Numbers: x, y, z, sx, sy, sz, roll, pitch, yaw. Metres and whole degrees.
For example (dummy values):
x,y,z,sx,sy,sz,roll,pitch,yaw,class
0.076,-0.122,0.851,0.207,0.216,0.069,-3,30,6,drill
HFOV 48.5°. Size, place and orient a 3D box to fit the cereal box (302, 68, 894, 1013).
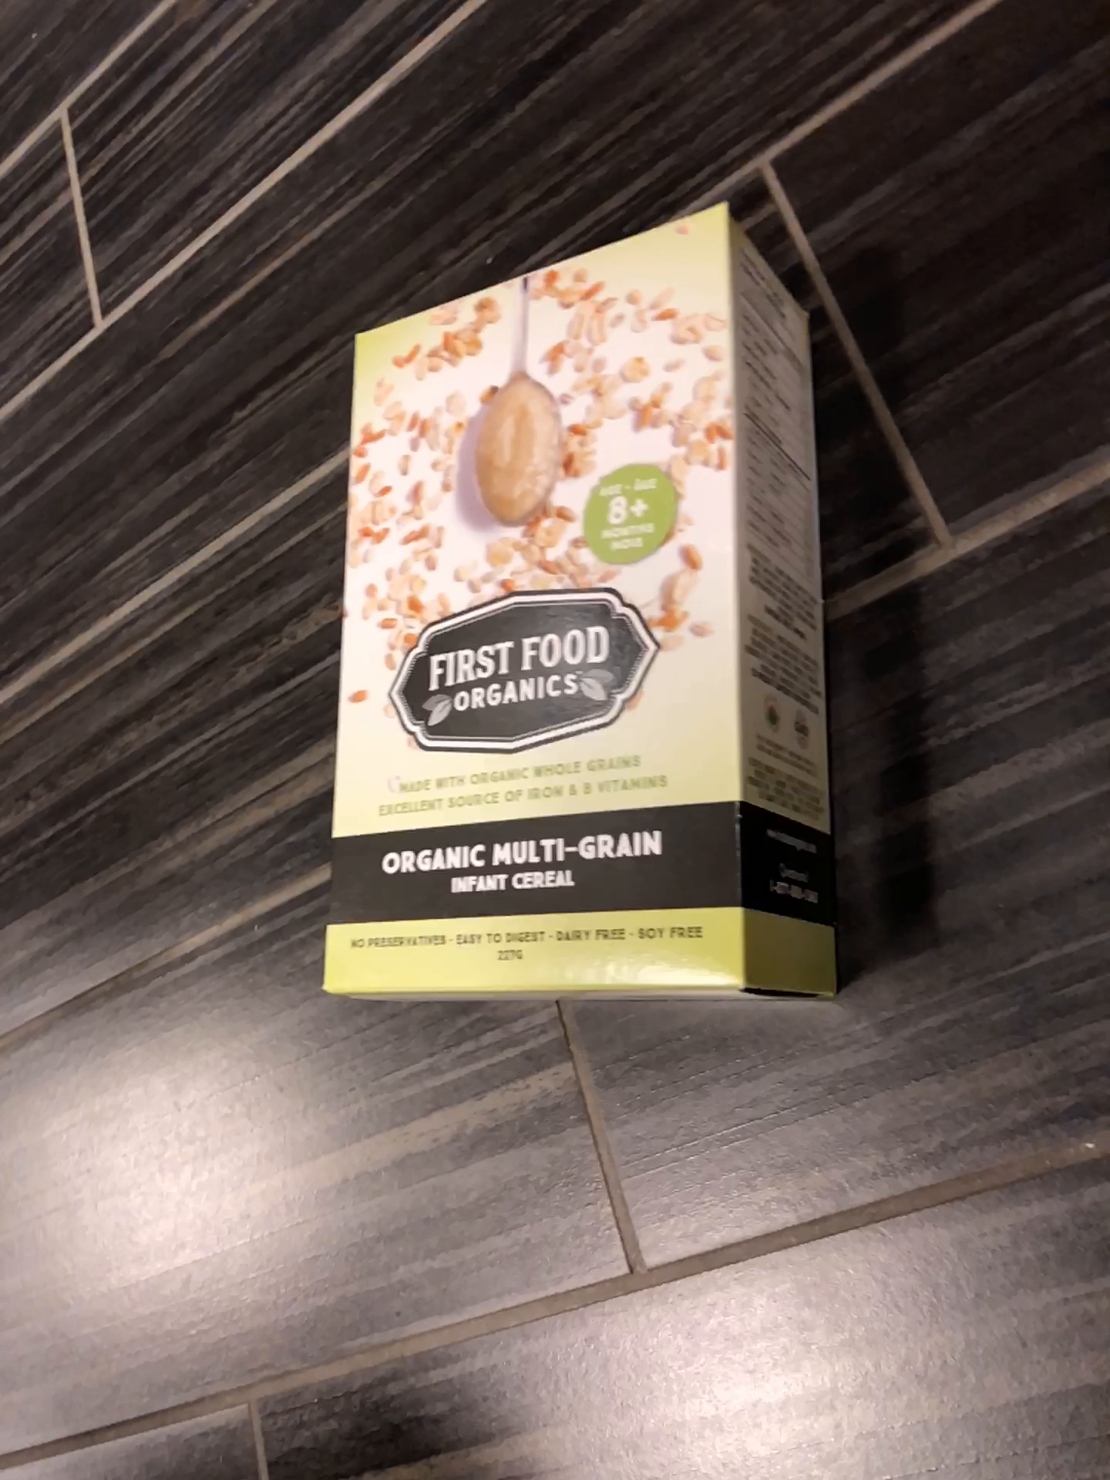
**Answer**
x,y,z,sx,sy,sz,roll,pitch,yaw,class
0.006,-0.045,0.347,0.141,0.060,0.230,-10,72,30,cereal box
